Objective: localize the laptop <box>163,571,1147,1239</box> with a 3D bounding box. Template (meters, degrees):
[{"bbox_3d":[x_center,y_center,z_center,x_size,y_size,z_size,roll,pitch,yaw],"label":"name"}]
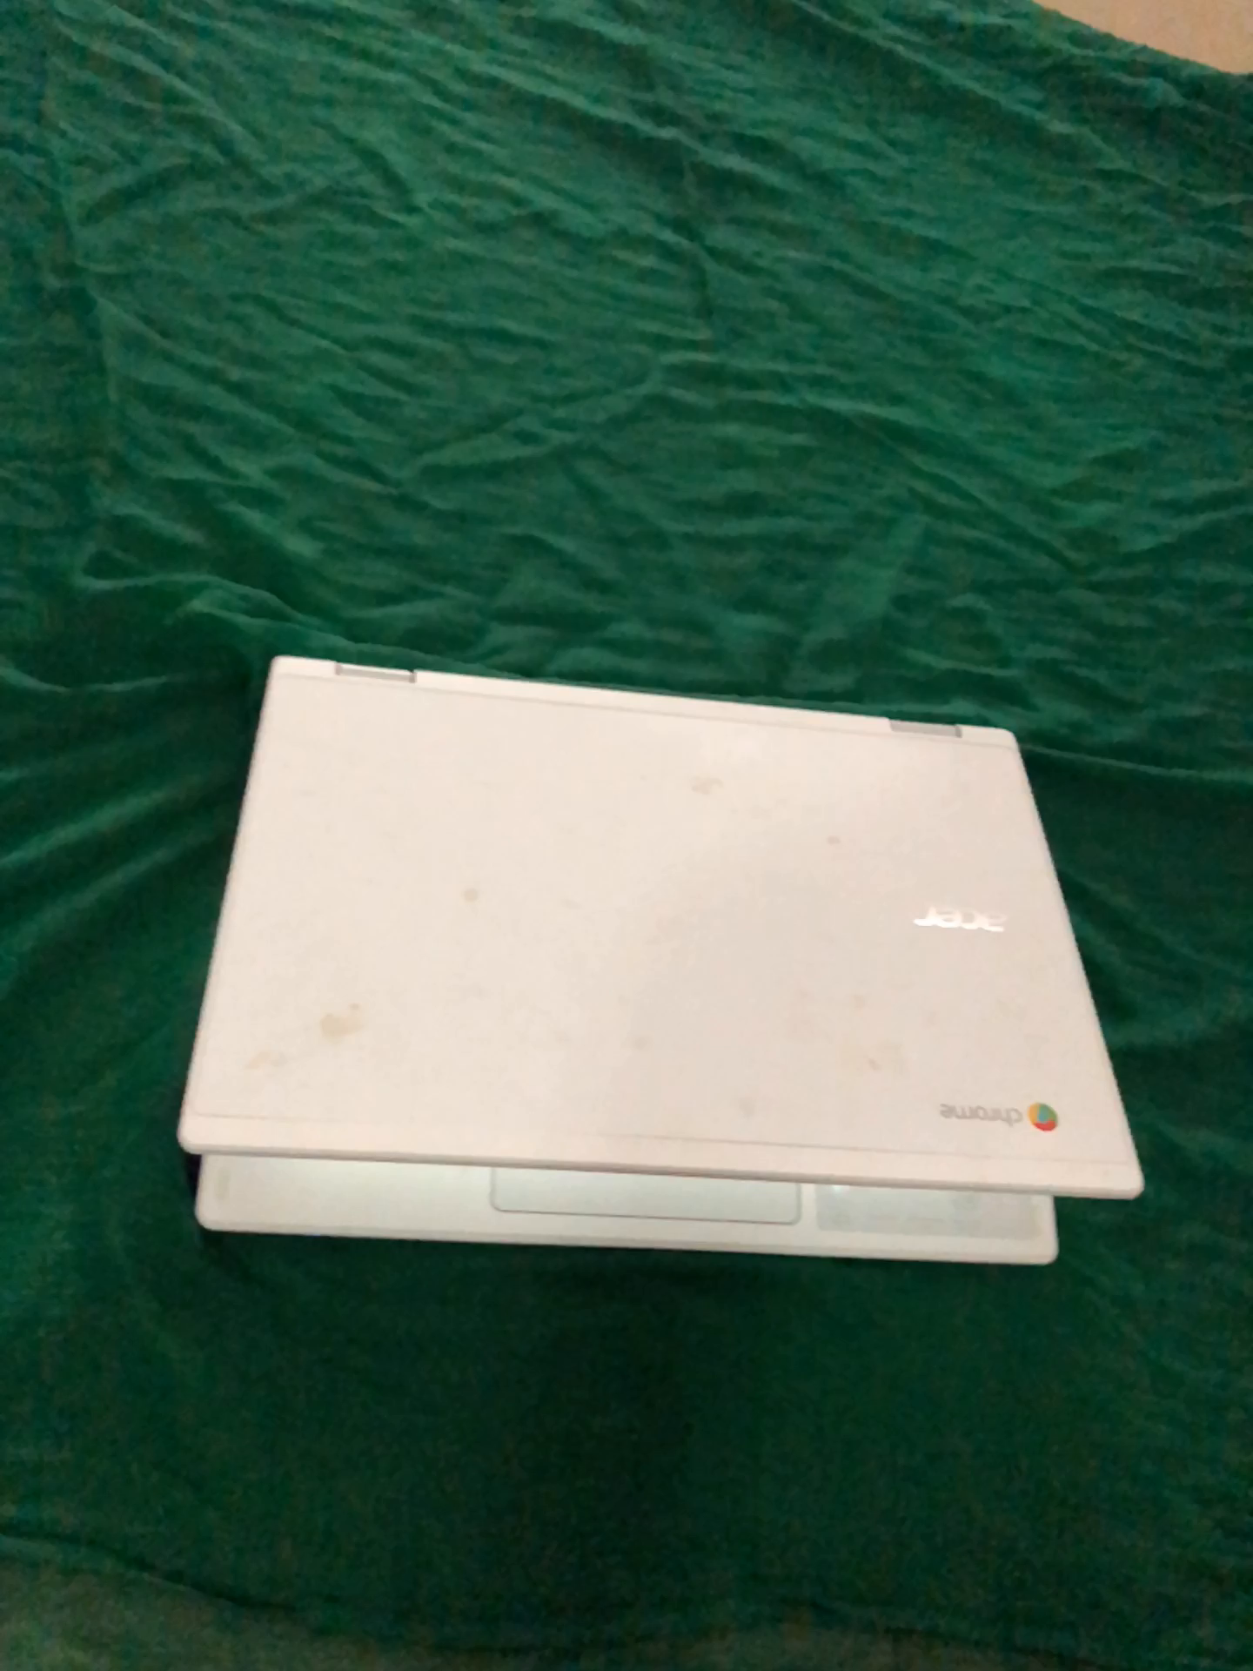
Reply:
[{"bbox_3d":[0.013,0.025,0.460,0.281,0.065,0.193,5,65,-7],"label":"laptop"}]
